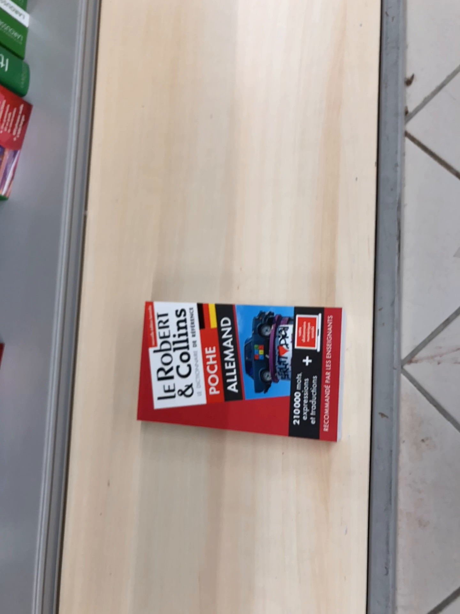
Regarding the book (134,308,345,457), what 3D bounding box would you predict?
[{"bbox_3d":[0.010,0.060,0.441,0.170,0.050,0.110,1,84,16],"label":"book"}]
